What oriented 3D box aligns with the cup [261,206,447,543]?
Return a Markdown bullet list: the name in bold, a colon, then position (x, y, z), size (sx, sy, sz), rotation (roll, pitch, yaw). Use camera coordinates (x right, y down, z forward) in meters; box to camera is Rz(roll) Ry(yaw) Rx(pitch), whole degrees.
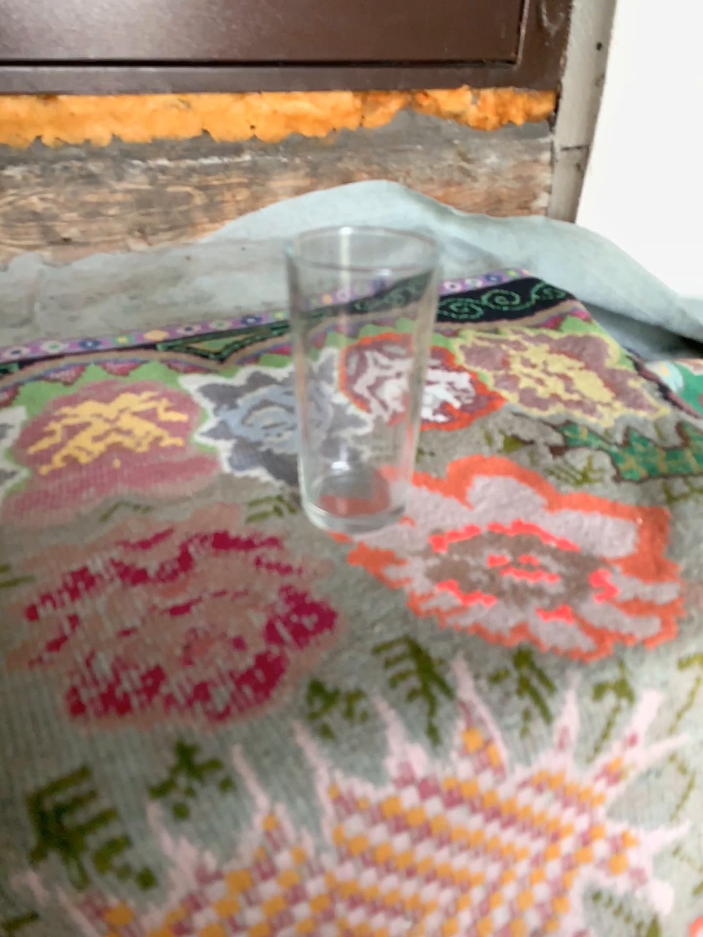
- **cup**: position (-0.001, -0.036, 0.285), size (0.060, 0.119, 0.061), rotation (1, 32, -1)
